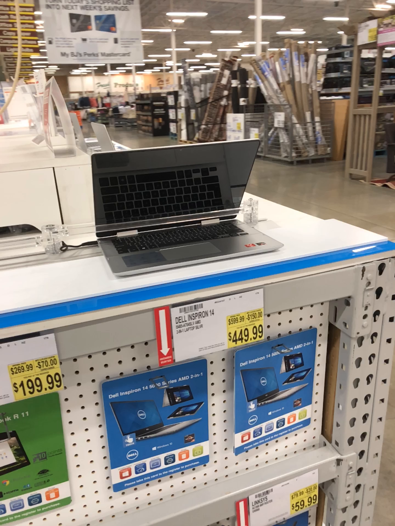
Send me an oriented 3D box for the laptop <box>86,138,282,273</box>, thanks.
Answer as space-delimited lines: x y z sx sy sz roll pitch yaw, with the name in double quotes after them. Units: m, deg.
-0.032 -0.127 0.828 0.307 0.183 0.210 -10 21 -17 "laptop"
